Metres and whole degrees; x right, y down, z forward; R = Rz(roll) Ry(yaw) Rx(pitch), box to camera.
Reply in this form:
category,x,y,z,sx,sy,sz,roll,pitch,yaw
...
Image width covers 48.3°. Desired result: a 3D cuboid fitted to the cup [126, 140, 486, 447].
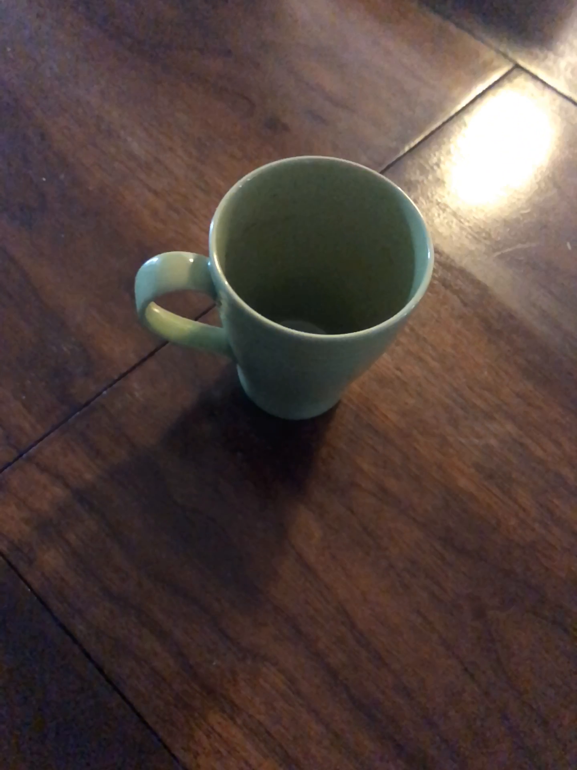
category,x,y,z,sx,sy,sz,roll,pitch,yaw
cup,-0.001,-0.035,0.272,0.120,0.090,0.090,-3,65,-7
